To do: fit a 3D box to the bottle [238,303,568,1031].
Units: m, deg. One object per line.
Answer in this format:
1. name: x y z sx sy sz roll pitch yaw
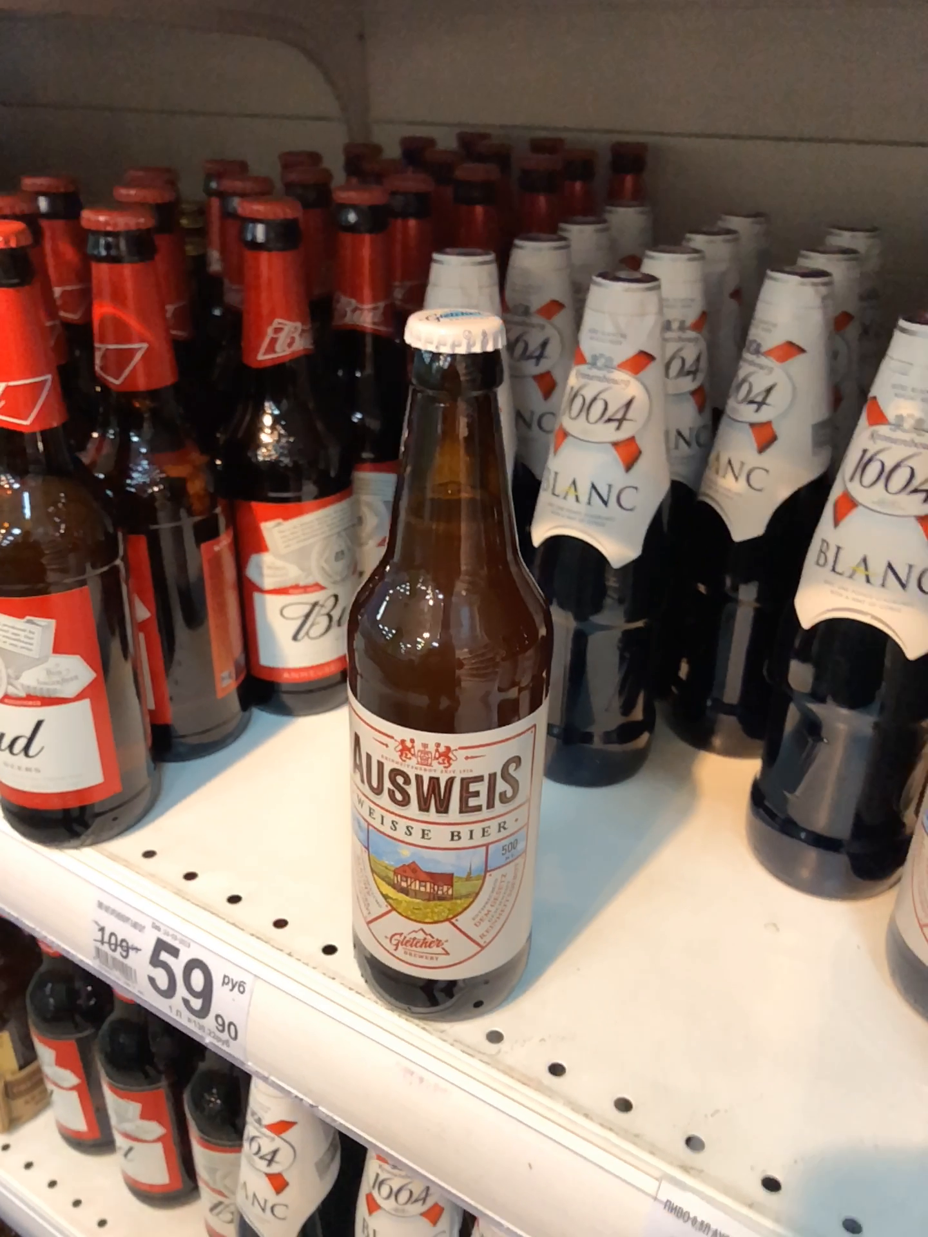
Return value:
1. bottle: -0.013 0.022 0.337 0.080 0.229 0.070 3 28 6
